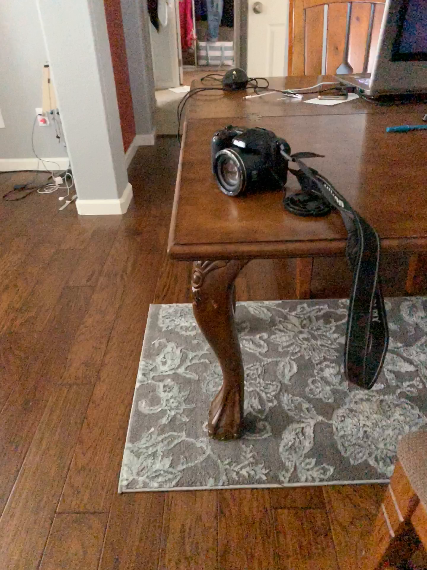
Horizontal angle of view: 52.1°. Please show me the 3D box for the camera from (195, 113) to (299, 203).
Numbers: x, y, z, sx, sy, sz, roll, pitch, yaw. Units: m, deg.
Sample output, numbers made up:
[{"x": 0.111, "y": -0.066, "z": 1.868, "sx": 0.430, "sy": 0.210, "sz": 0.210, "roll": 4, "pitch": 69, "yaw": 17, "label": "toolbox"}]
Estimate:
[{"x": 0.044, "y": -0.181, "z": 0.607, "sx": 0.090, "sy": 0.079, "sz": 0.111, "roll": -24, "pitch": 40, "yaw": -30, "label": "camera"}]
